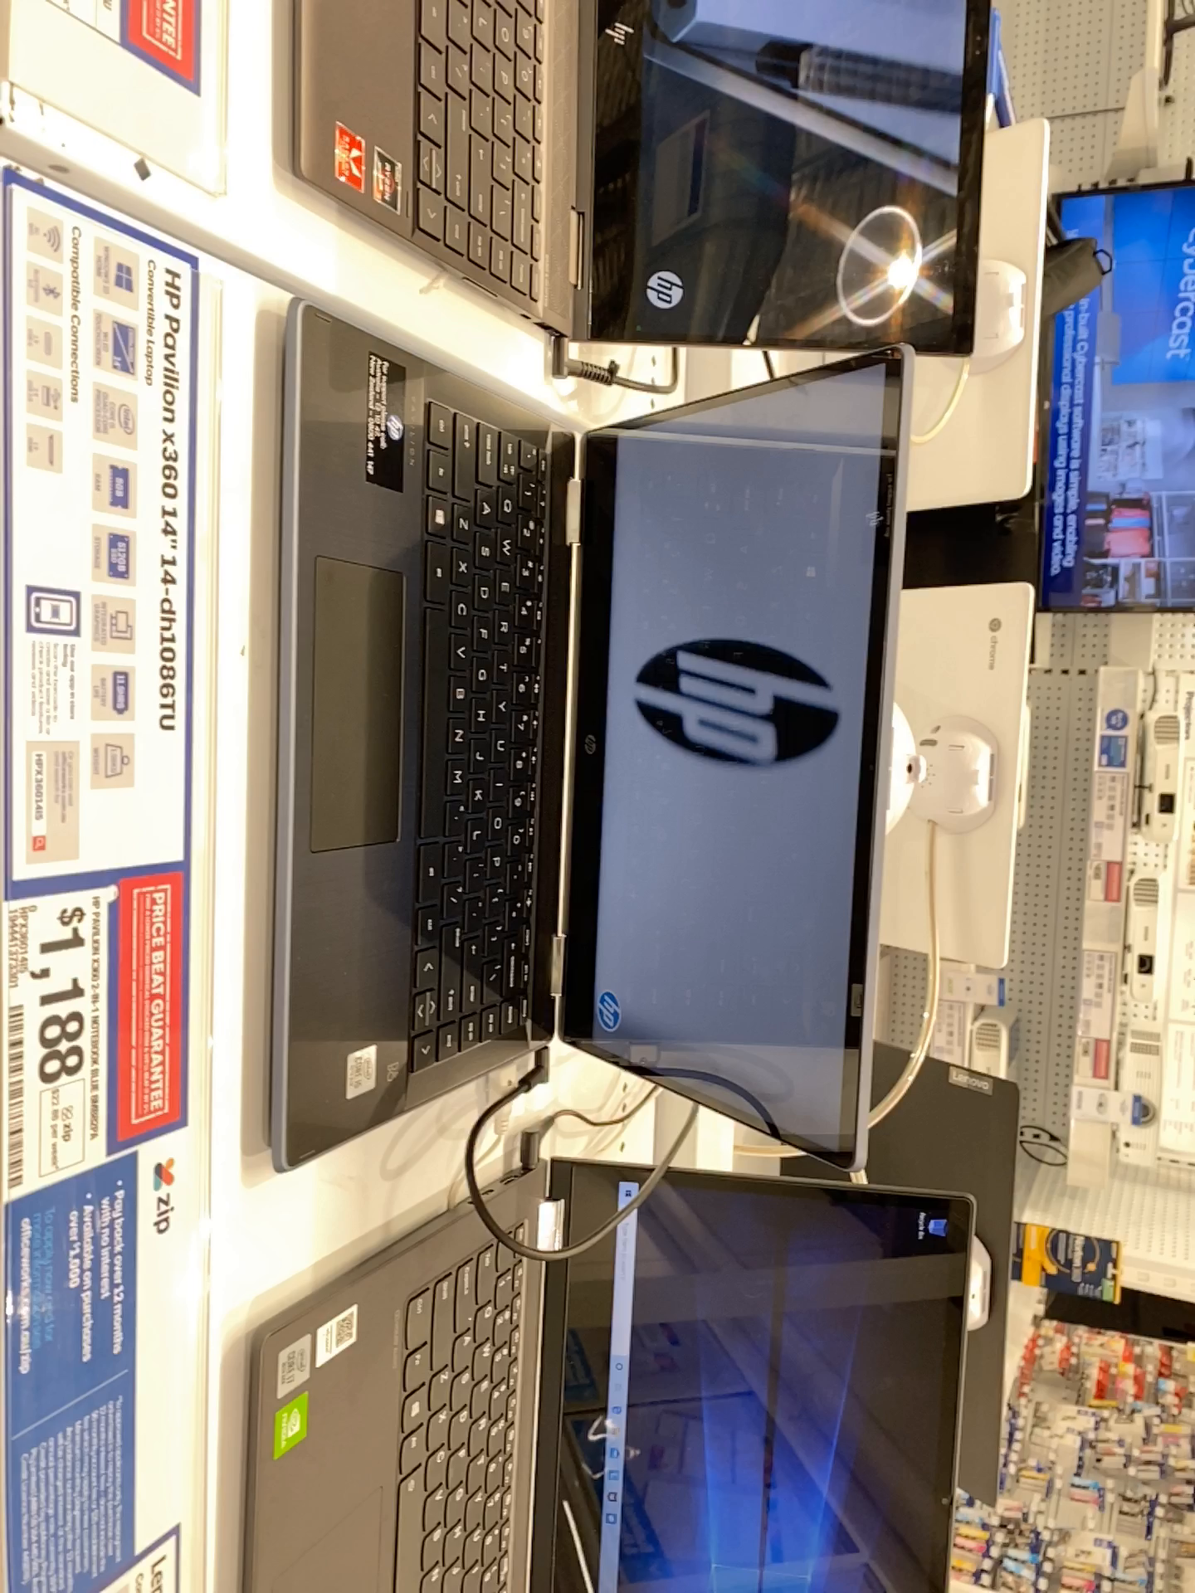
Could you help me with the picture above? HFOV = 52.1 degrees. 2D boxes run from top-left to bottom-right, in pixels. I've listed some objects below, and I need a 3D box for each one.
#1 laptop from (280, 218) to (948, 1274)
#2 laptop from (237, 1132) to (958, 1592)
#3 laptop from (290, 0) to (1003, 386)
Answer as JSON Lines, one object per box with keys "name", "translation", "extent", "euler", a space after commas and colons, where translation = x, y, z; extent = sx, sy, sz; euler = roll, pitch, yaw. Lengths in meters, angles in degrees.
{"name": "laptop", "translation": [0.018, -0.021, 0.499], "extent": [0.212, 0.189, 0.313], "euler": [-7, 100, -64]}
{"name": "laptop", "translation": [0.025, 0.358, 0.548], "extent": [0.296, 0.199, 0.306], "euler": [-1, 94, -63]}
{"name": "laptop", "translation": [0.050, -0.388, 0.527], "extent": [0.326, 0.173, 0.325], "euler": [-5, 96, -62]}
